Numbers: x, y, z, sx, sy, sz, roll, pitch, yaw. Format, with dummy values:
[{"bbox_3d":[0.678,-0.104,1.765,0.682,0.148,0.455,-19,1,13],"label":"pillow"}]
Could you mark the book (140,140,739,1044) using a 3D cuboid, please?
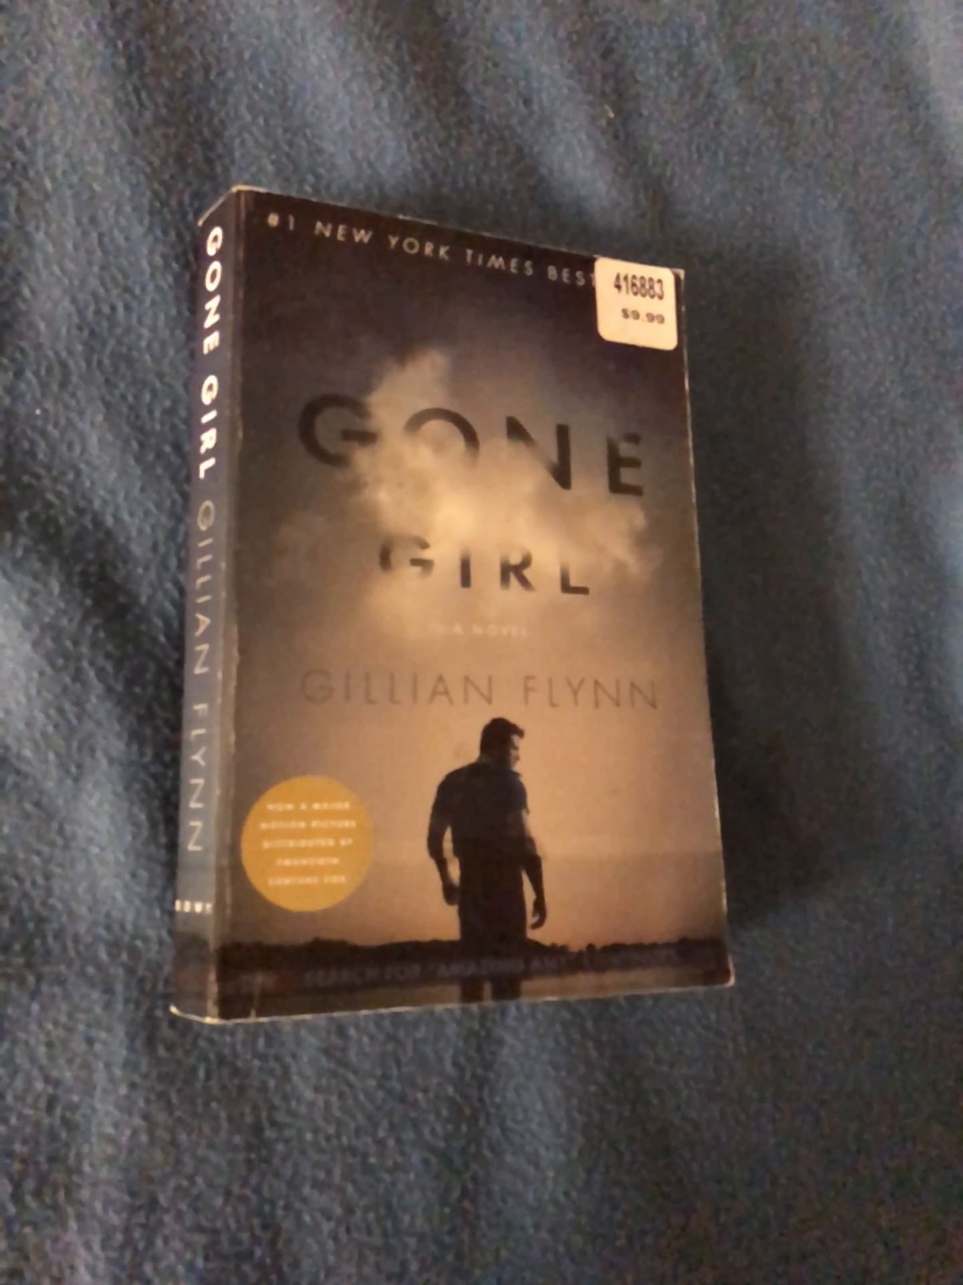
[{"bbox_3d":[-0.009,-0.012,0.273,0.140,0.040,0.200,3,80,-21],"label":"book"}]
